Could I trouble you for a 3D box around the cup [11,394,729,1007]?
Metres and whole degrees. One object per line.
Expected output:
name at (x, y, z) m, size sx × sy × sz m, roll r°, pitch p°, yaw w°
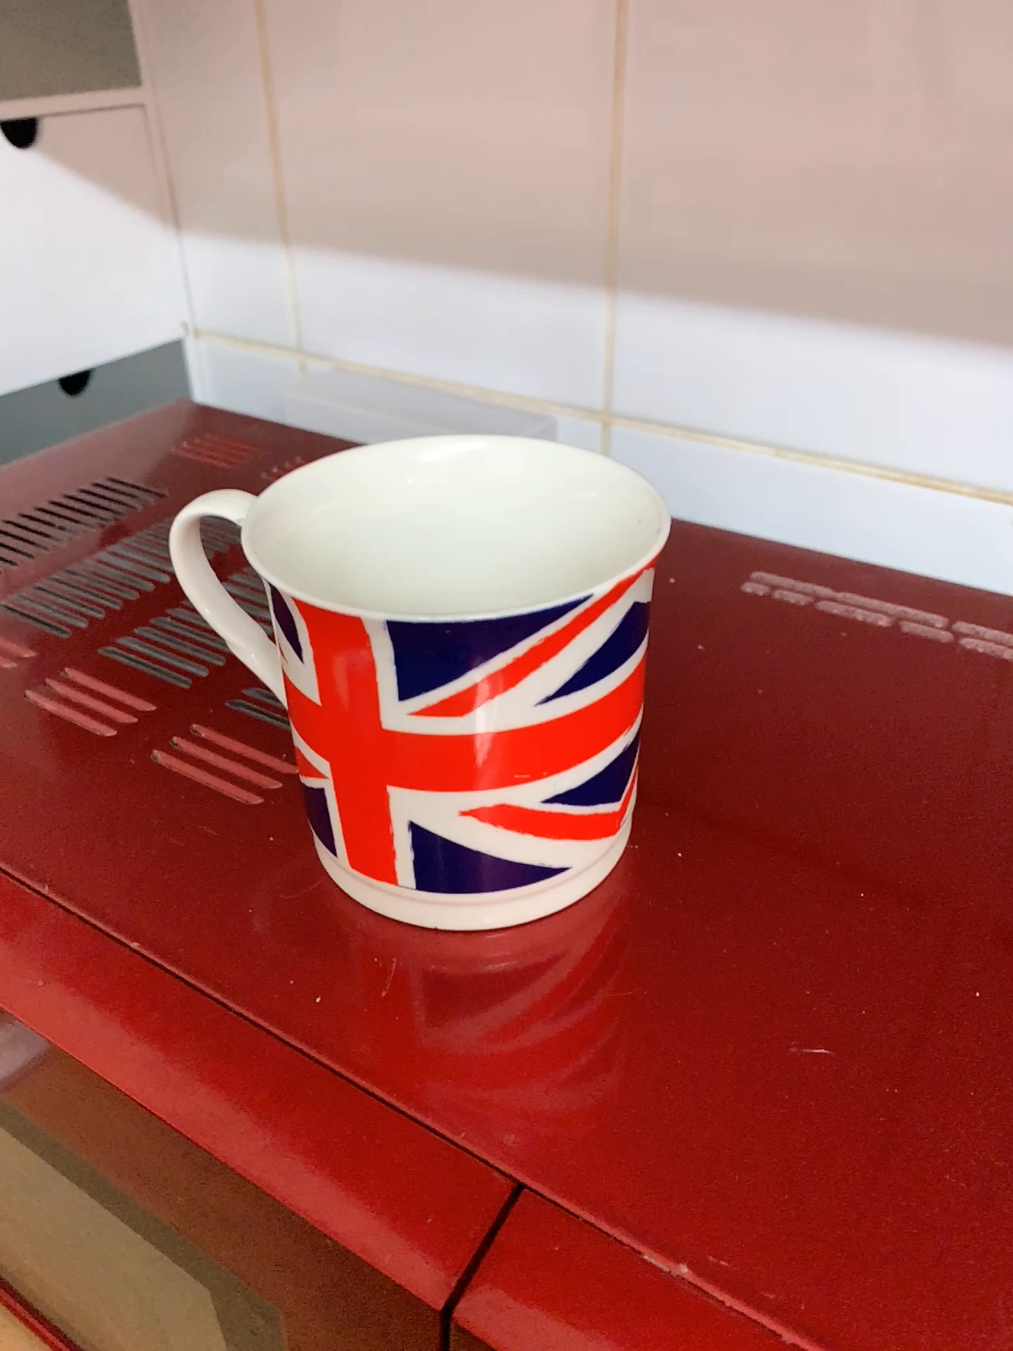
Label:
cup at (-0.024, -0.004, 0.234) m, size 0.120 × 0.079 × 0.081 m, roll 14°, pitch 36°, yaw 22°
